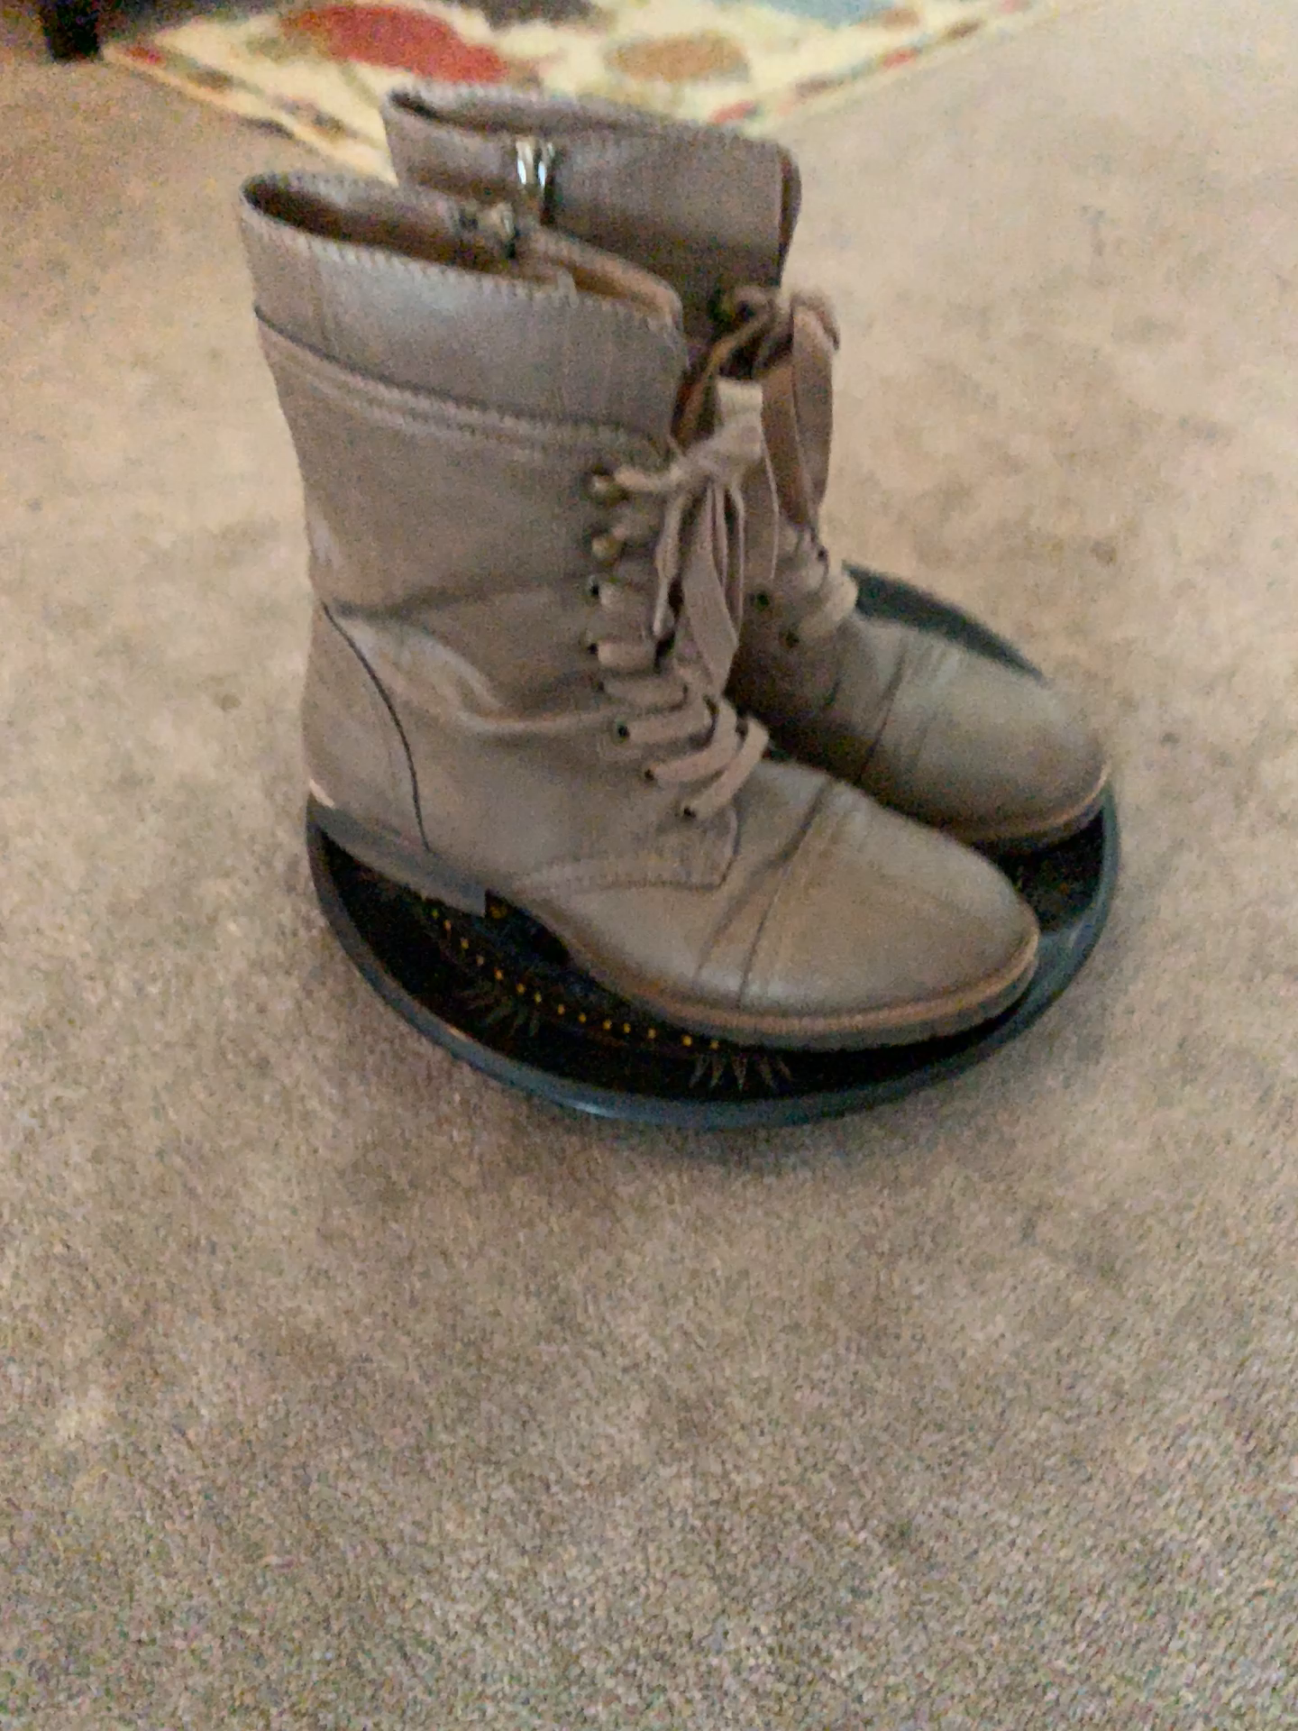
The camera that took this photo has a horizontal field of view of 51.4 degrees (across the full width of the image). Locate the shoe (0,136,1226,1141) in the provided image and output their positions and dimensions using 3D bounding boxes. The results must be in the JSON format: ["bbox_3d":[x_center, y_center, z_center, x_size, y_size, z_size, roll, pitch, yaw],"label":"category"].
[{"bbox_3d":[-0.014,-0.065,0.376,0.270,0.198,0.101,17,50,19],"label":"shoe"}]

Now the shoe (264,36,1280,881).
[{"bbox_3d":[0.034,-0.134,0.442,0.260,0.198,0.101,17,50,19],"label":"shoe"}]
